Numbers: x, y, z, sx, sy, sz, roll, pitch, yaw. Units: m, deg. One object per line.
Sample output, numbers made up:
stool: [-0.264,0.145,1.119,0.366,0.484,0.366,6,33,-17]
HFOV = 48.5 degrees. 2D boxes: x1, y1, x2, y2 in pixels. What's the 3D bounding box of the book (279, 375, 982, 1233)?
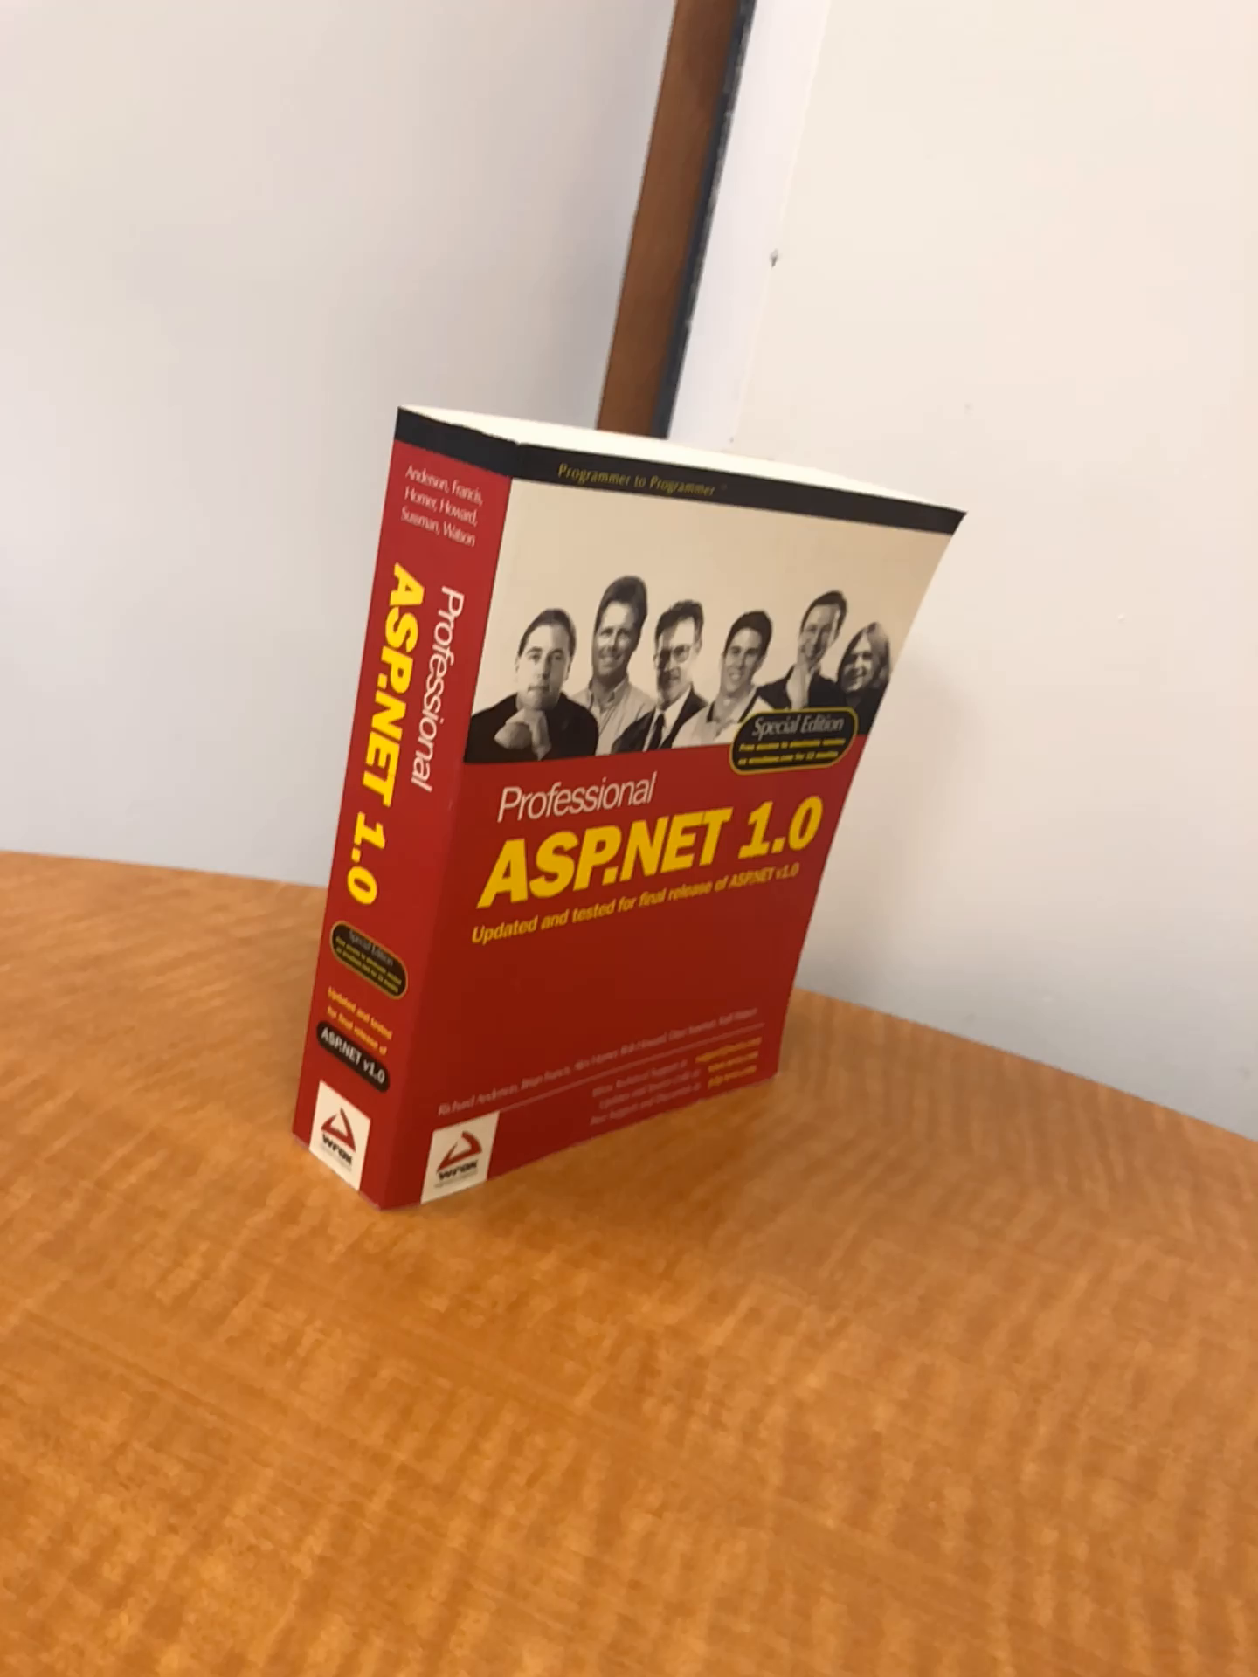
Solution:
book: [0.007,-0.013,0.452,0.050,0.229,0.210,28,24,38]
